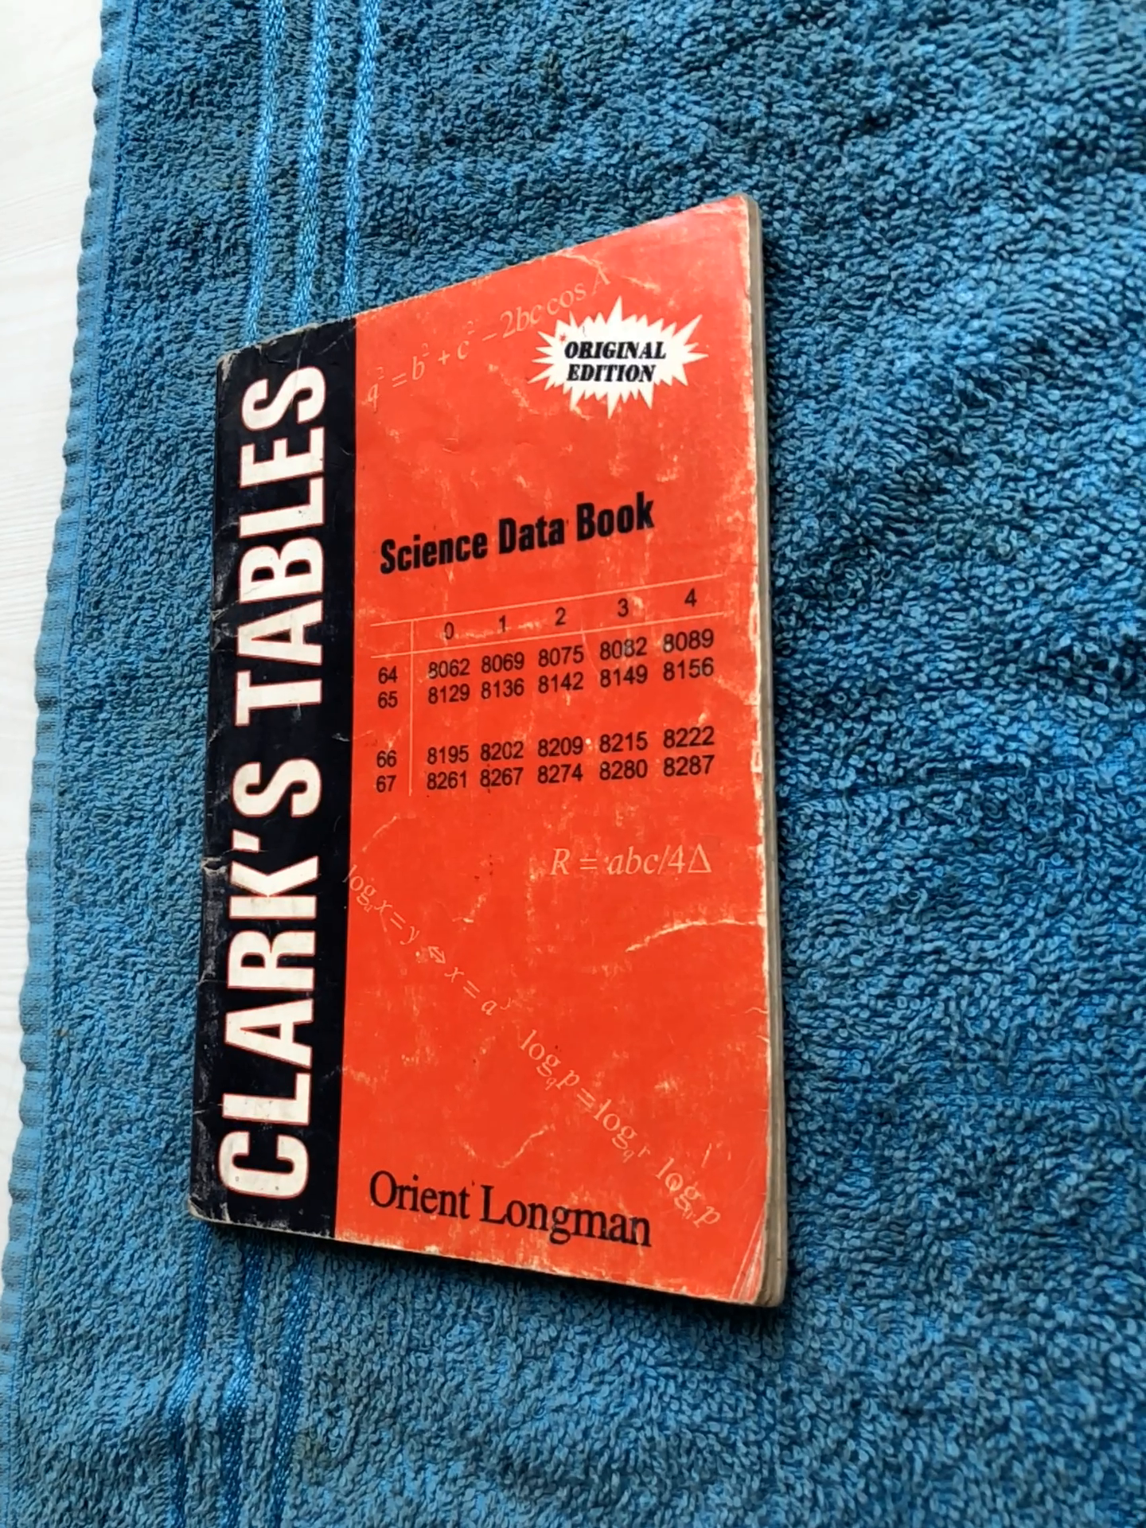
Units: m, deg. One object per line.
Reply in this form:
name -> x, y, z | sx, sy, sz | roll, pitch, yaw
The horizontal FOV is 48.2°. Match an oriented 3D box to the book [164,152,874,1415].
book -> -0.014, 0.003, 0.224 | 0.120, 0.030, 0.180 | -4, 82, 29
